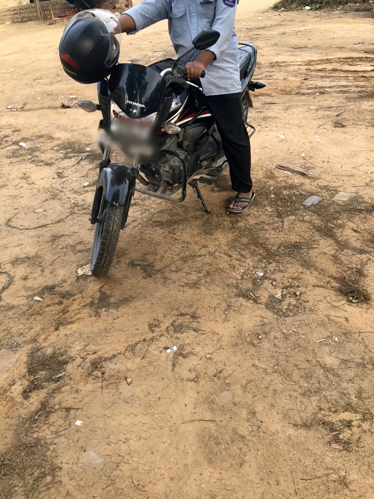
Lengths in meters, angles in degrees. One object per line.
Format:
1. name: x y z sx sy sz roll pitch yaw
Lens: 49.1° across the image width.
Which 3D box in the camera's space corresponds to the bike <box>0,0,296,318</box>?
1. bike: -0.026 -0.616 2.248 0.668 0.913 1.571 15 46 30
